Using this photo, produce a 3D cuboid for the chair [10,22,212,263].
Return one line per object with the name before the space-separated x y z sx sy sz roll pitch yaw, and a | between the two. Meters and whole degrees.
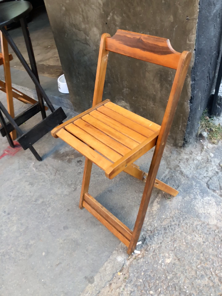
chair | 0.041 -0.014 1.102 0.502 0.854 0.482 -37 48 -28
